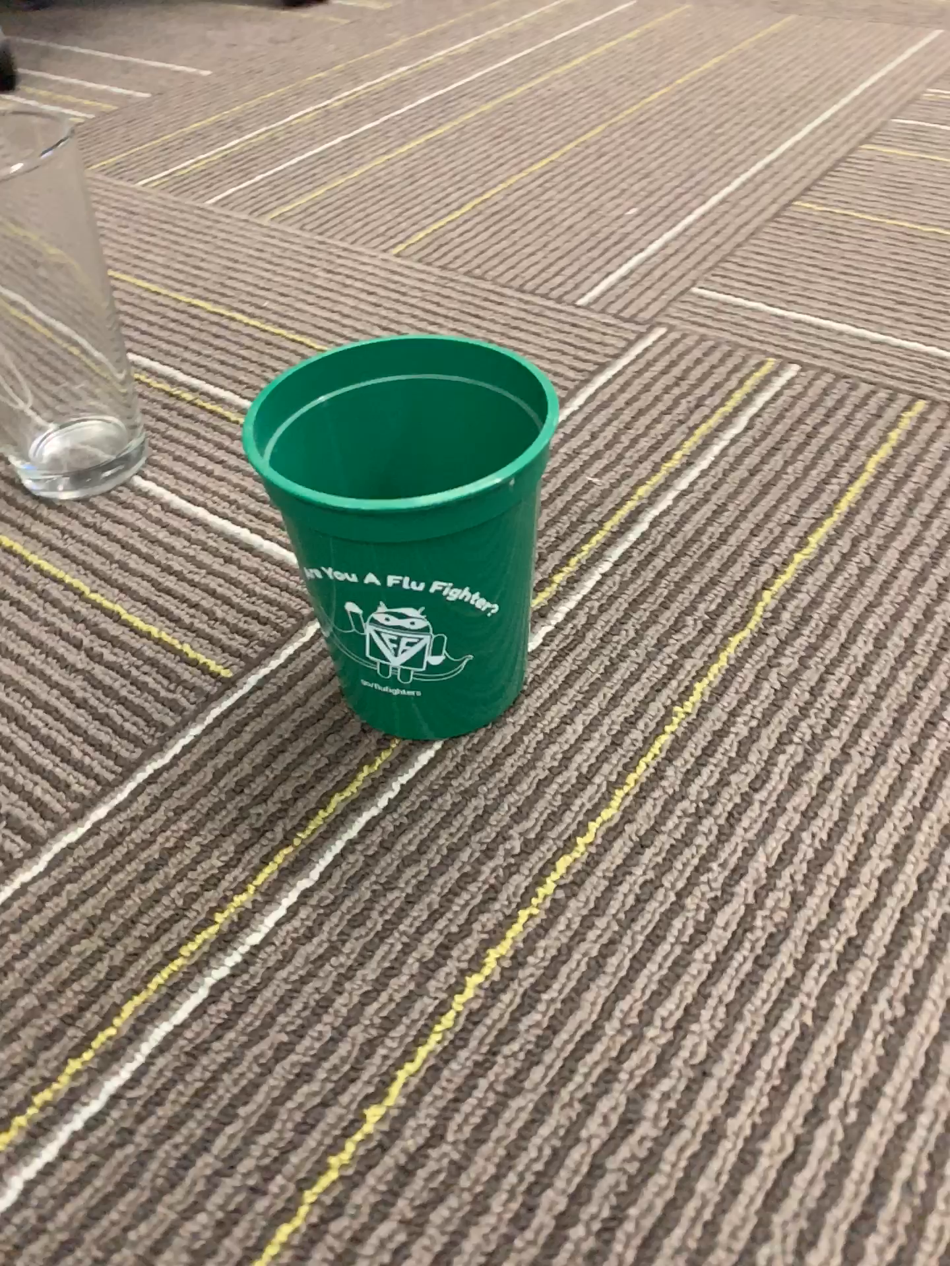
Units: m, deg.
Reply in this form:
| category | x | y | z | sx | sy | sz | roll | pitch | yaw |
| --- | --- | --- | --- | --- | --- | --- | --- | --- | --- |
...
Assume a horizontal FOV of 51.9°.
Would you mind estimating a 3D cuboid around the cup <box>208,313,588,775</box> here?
| category | x | y | z | sx | sy | sz | roll | pitch | yaw |
| --- | --- | --- | --- | --- | --- | --- | --- | --- | --- |
| cup | -0.015 | -0.029 | 0.327 | 0.090 | 0.119 | 0.080 | 9 | 46 | 14 |
